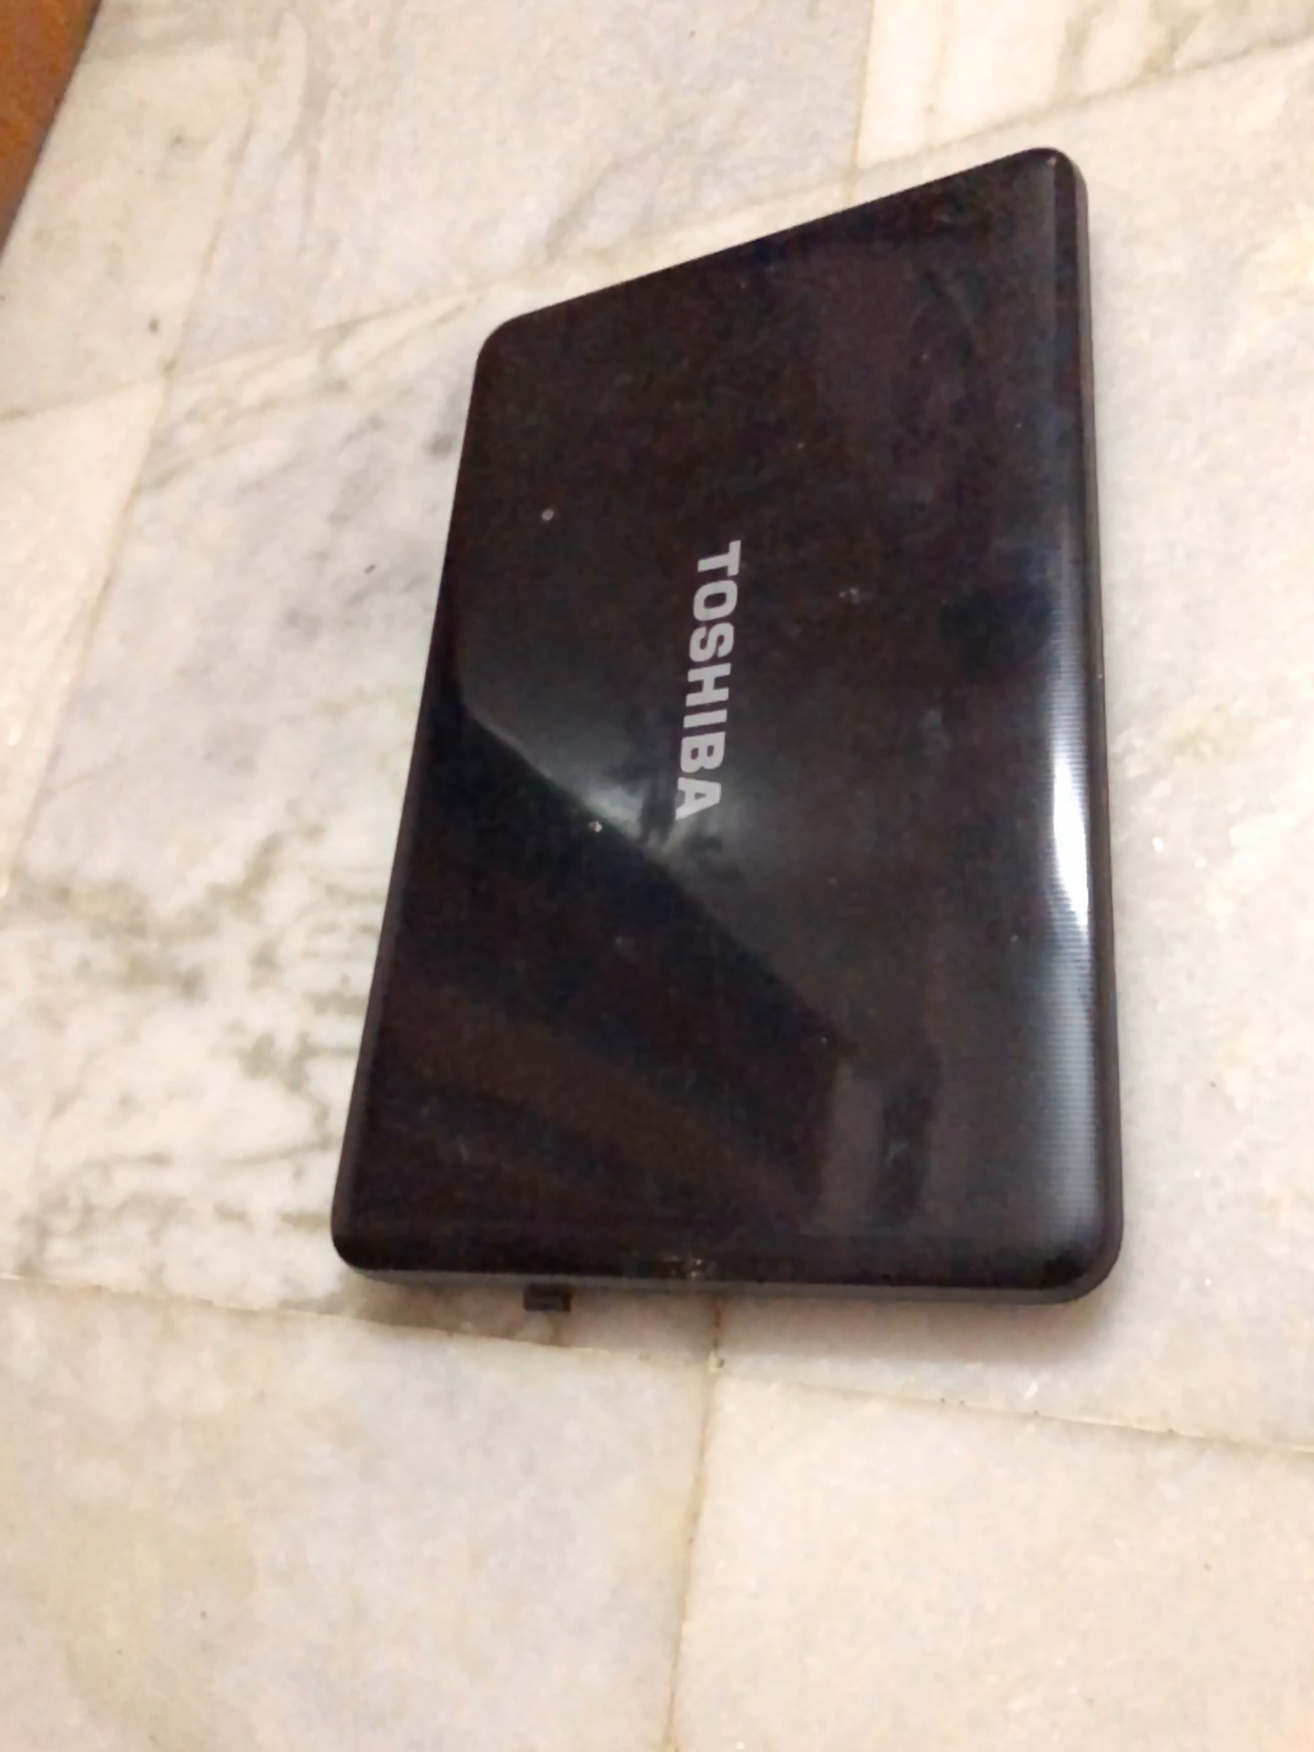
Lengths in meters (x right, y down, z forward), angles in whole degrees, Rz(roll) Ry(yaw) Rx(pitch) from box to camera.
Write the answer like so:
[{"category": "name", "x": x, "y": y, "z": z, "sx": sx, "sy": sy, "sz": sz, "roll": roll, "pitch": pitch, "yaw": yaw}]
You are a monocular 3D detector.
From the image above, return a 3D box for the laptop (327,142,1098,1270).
[{"category": "laptop", "x": 0.018, "y": -0.062, "z": 0.457, "sx": 0.225, "sy": 0.004, "sz": 0.360, "roll": -6, "pitch": 65, "yaw": 26}]
